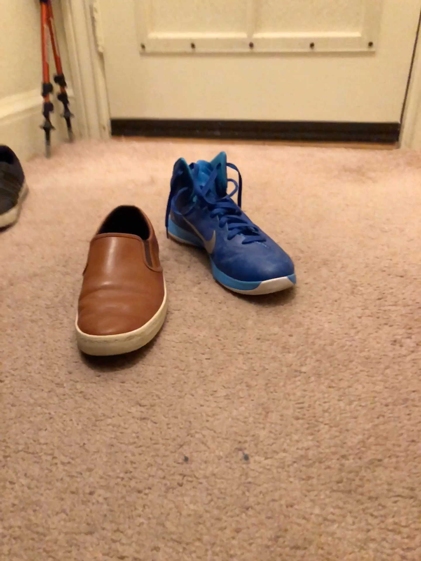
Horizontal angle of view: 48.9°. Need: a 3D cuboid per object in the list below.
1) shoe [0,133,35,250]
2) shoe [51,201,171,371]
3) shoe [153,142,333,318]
[{"bbox_3d":[-0.414,-0.177,0.854,0.115,0.112,0.294,-6,31,-9],"label":"shoe"},{"bbox_3d":[-0.110,-0.012,0.601,0.105,0.083,0.284,-2,30,-2],"label":"shoe"},{"bbox_3d":[0.029,-0.093,0.682,0.115,0.142,0.293,-16,33,-24],"label":"shoe"}]
